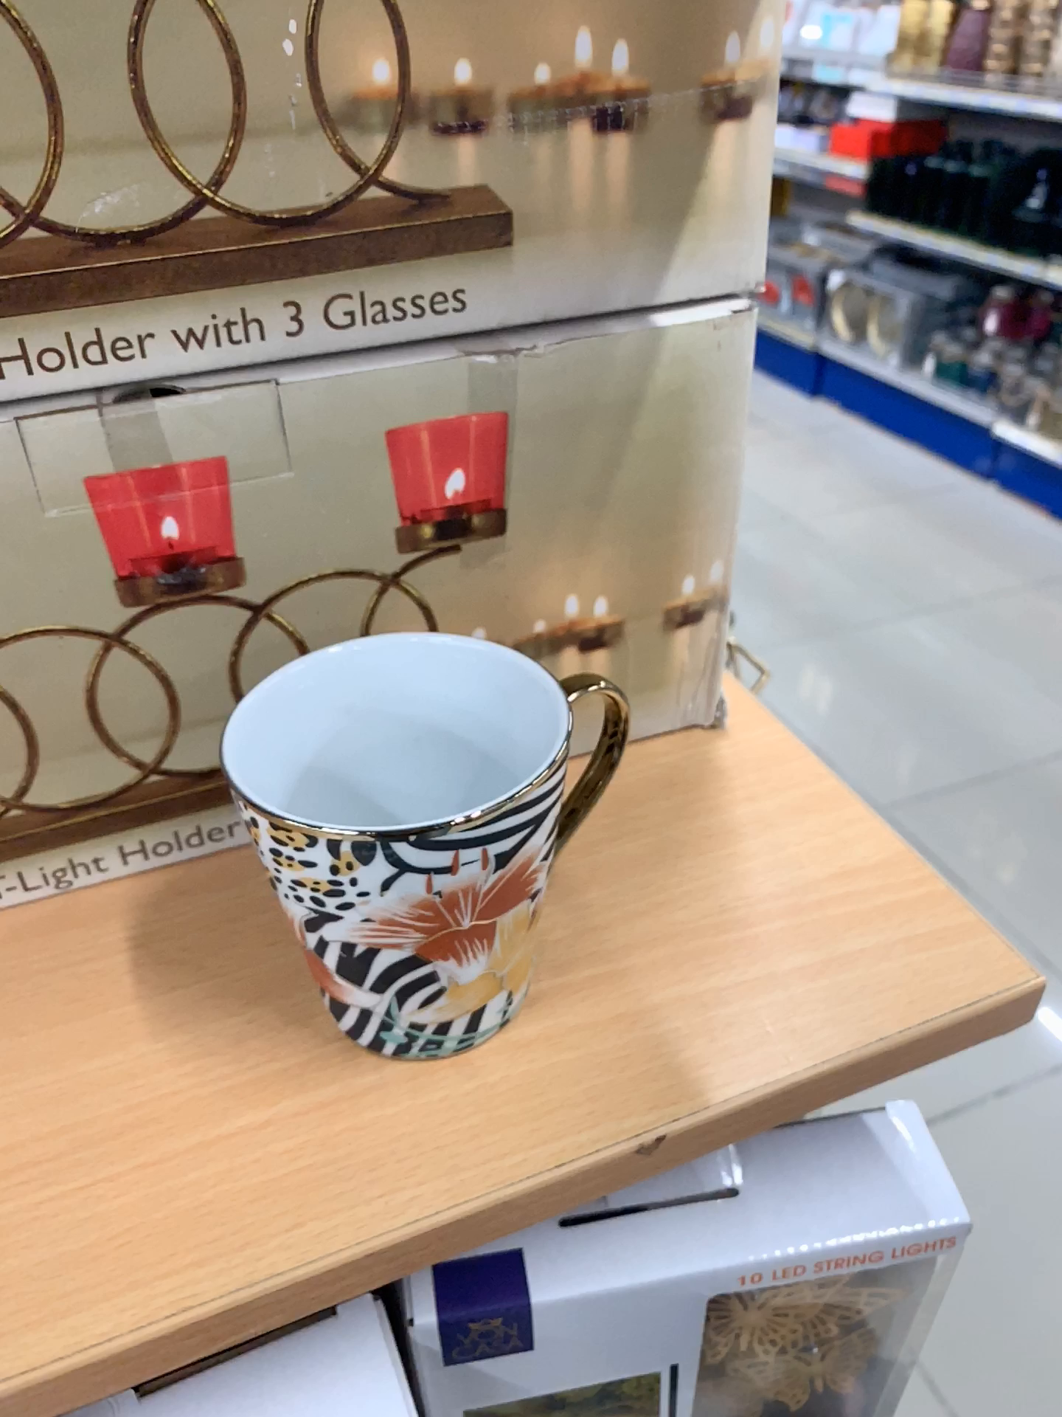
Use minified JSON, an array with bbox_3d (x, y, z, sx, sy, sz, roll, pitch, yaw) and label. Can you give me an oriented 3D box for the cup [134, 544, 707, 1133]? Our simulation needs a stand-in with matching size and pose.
[{"bbox_3d":[-0.023,0.023,0.258,0.100,0.080,0.070,-23,40,-30],"label":"cup"}]
